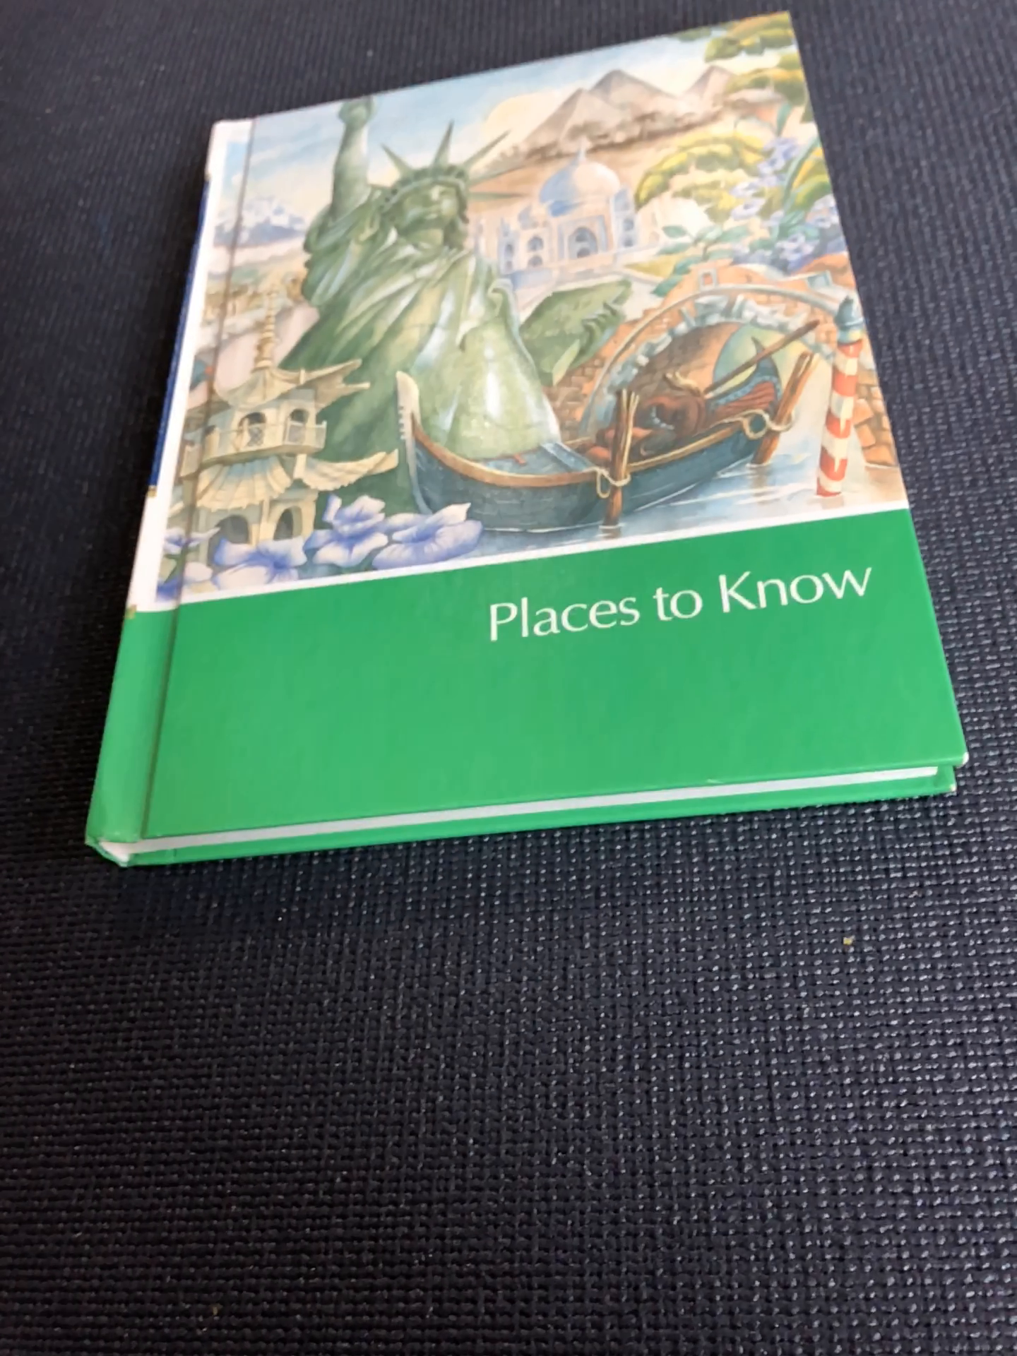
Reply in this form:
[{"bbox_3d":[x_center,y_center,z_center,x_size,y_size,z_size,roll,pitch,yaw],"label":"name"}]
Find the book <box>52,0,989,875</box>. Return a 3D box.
[{"bbox_3d":[-0.003,-0.079,0.304,0.190,0.030,0.250,-6,59,8],"label":"book"}]
